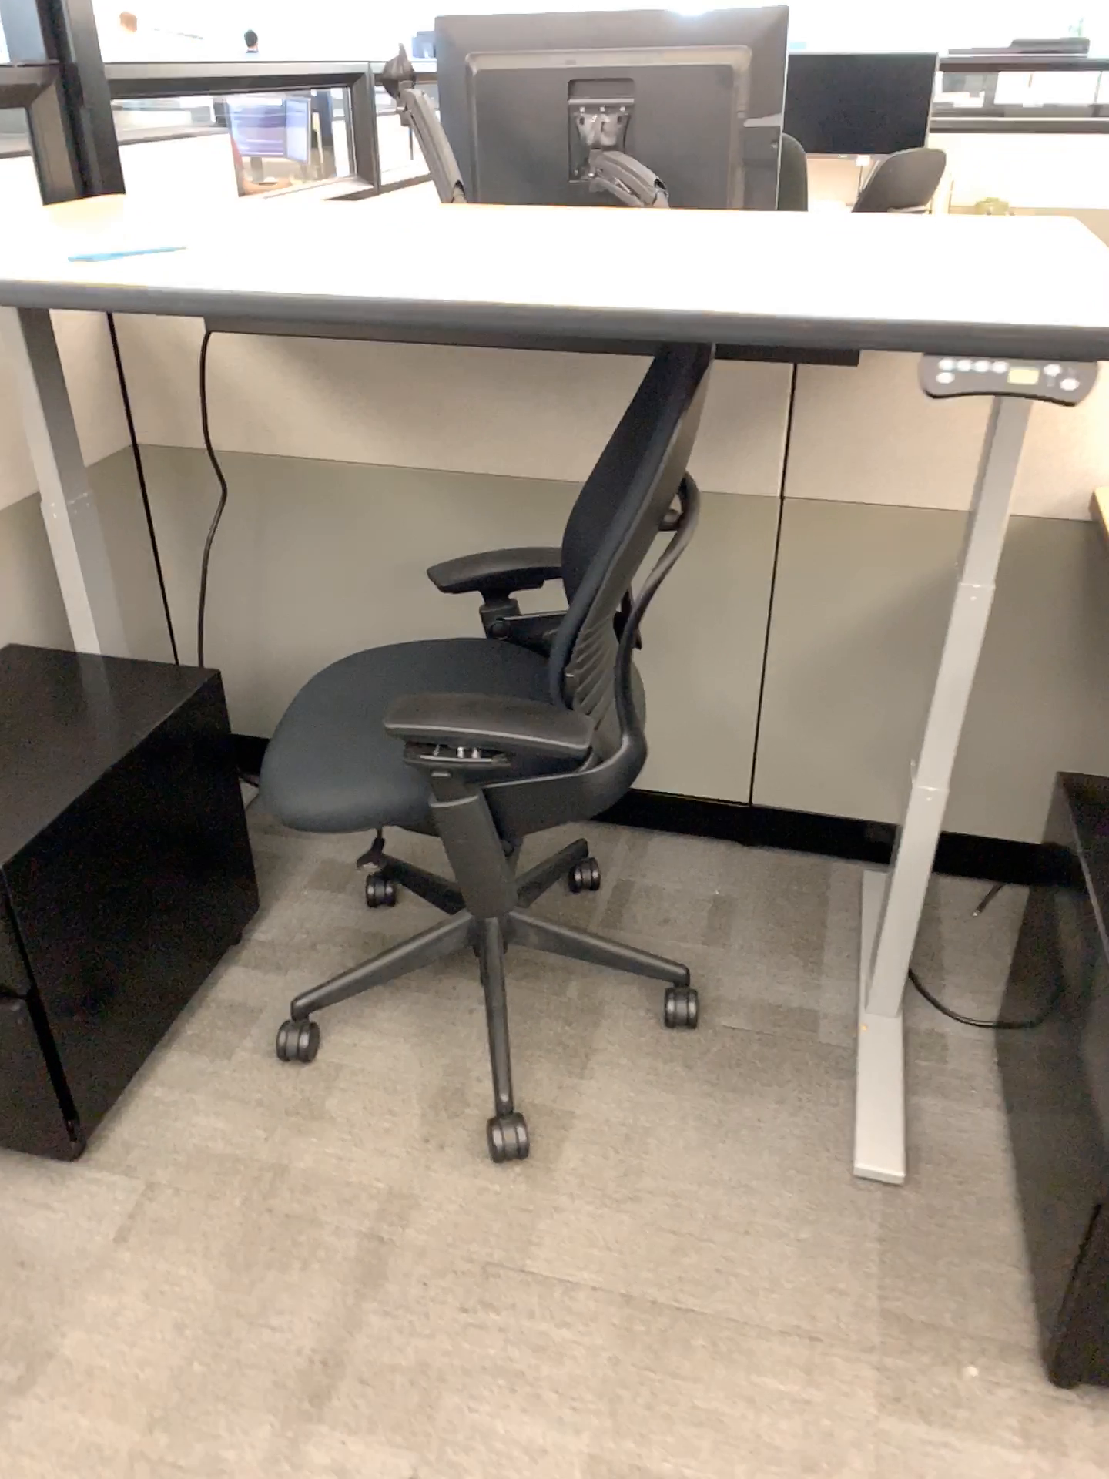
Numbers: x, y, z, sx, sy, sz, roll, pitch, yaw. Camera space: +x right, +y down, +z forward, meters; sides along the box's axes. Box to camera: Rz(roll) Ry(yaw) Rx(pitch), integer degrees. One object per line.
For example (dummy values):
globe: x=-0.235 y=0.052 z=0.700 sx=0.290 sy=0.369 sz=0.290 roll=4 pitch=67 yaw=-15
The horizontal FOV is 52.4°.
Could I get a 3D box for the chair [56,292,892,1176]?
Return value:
chair: x=-0.079 y=-0.047 z=1.601 sx=0.760 sy=0.954 sz=0.785 roll=2 pitch=30 yaw=0
